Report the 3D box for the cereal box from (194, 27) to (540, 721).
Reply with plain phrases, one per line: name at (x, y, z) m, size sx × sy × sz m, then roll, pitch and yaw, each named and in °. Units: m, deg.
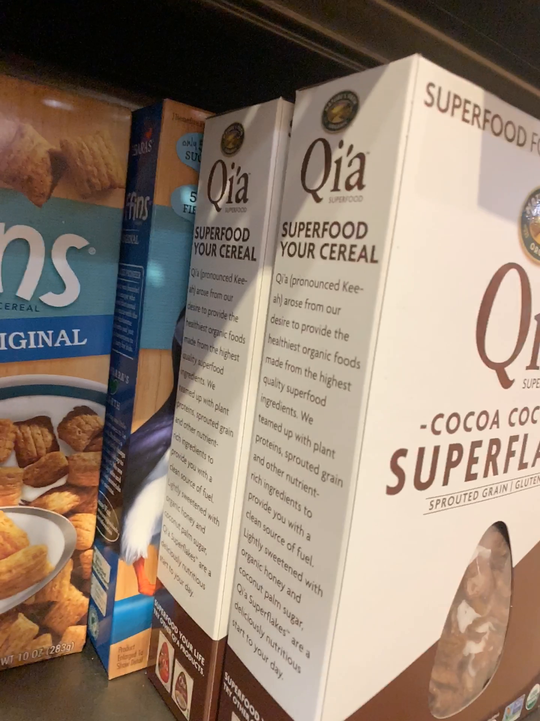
cereal box at (0.067, 0.037, 0.234) m, size 0.160 × 0.259 × 0.060 m, roll 2°, pitch 9°, yaw -38°
